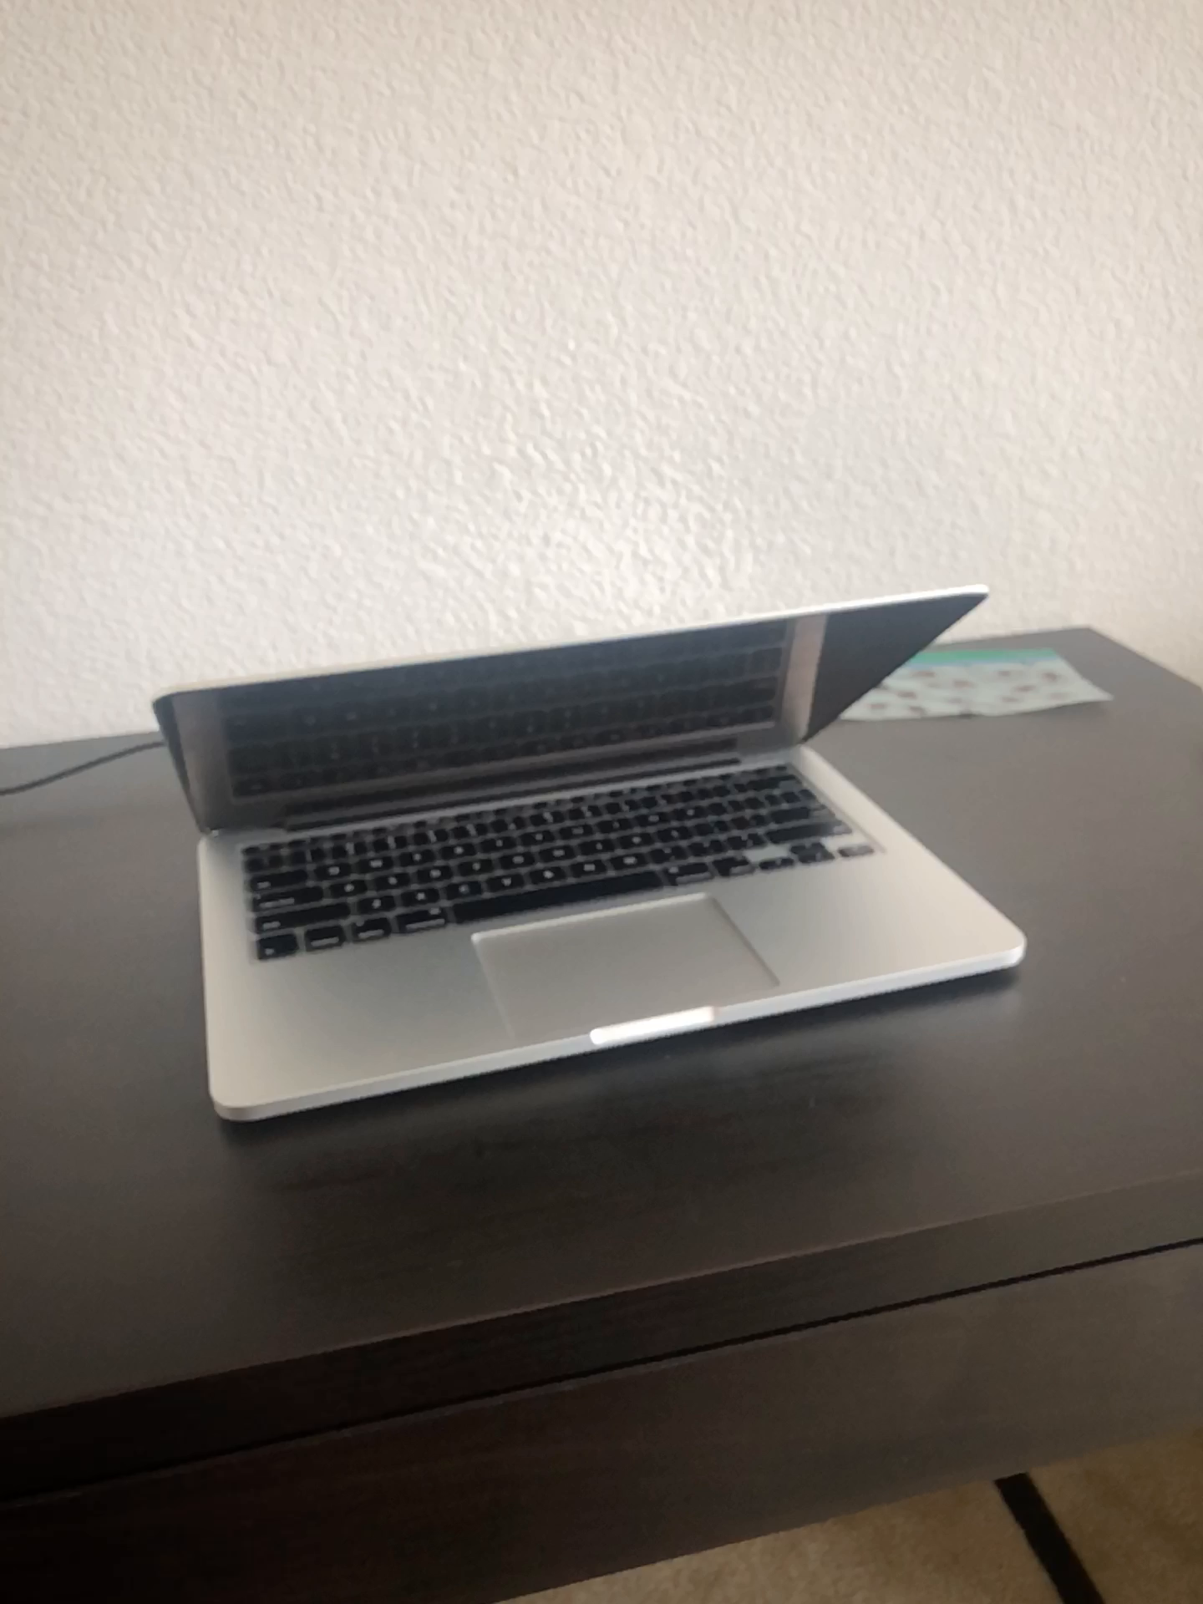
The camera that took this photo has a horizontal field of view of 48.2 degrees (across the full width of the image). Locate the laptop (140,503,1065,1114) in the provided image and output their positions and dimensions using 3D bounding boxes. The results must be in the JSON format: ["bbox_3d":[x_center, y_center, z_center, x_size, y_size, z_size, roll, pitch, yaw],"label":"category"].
[{"bbox_3d":[-0.015,-0.022,0.556,0.309,0.133,0.225,-9,24,-14],"label":"laptop"}]
